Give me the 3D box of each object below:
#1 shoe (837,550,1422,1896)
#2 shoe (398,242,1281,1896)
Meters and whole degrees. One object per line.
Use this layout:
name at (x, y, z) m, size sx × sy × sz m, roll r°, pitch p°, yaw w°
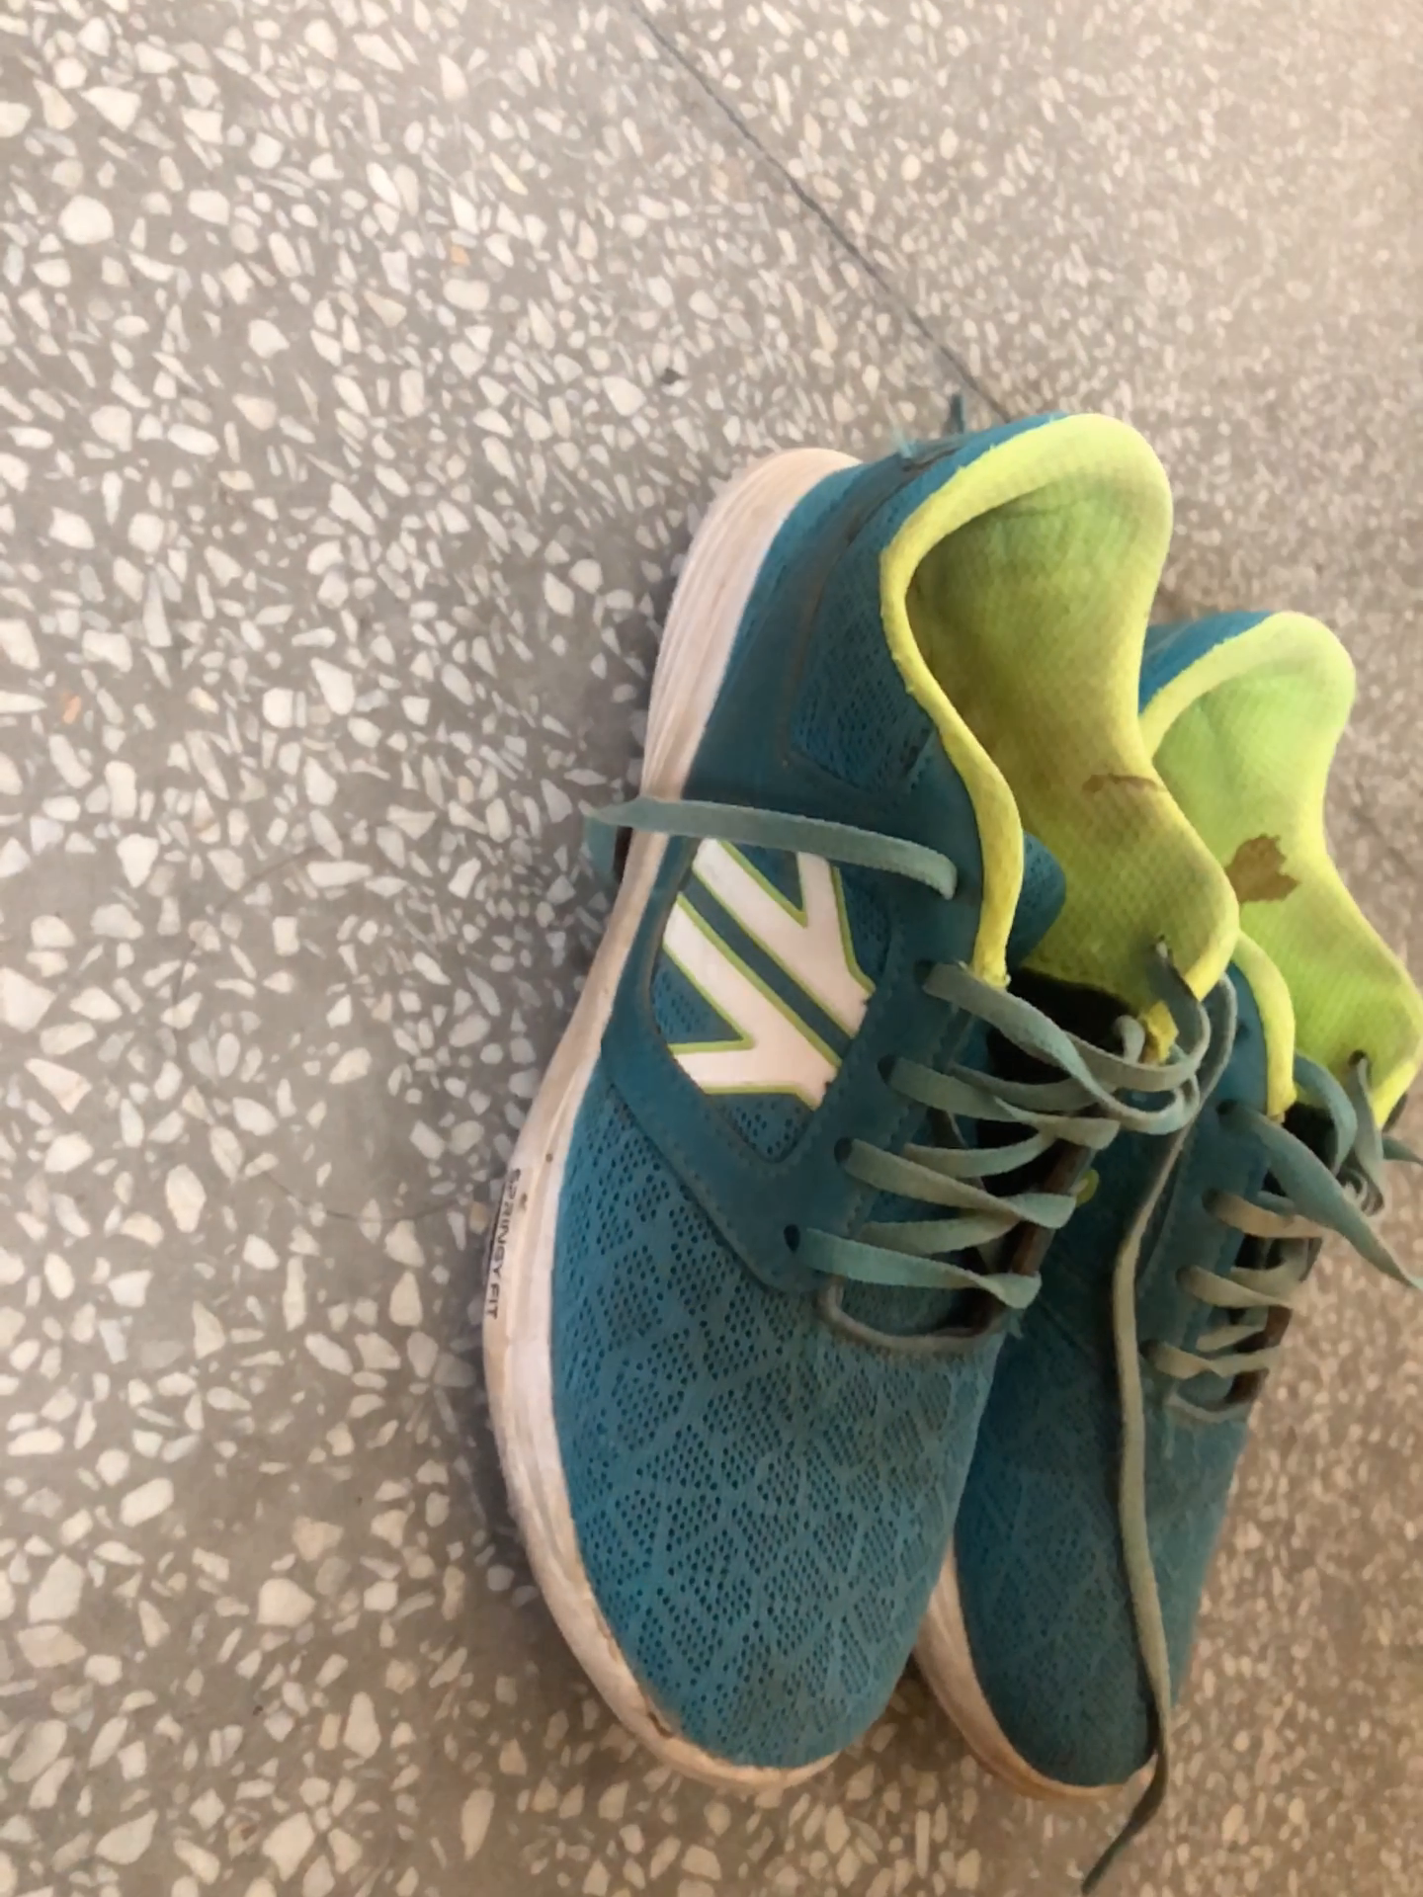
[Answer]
shoe at (0.099, 0.053, 0.329) m, size 0.095 × 0.088 × 0.229 m, roll 18°, pitch 71°, yaw -40°
shoe at (0.029, 0.020, 0.273) m, size 0.091 × 0.091 × 0.230 m, roll 20°, pitch 70°, yaw -39°
